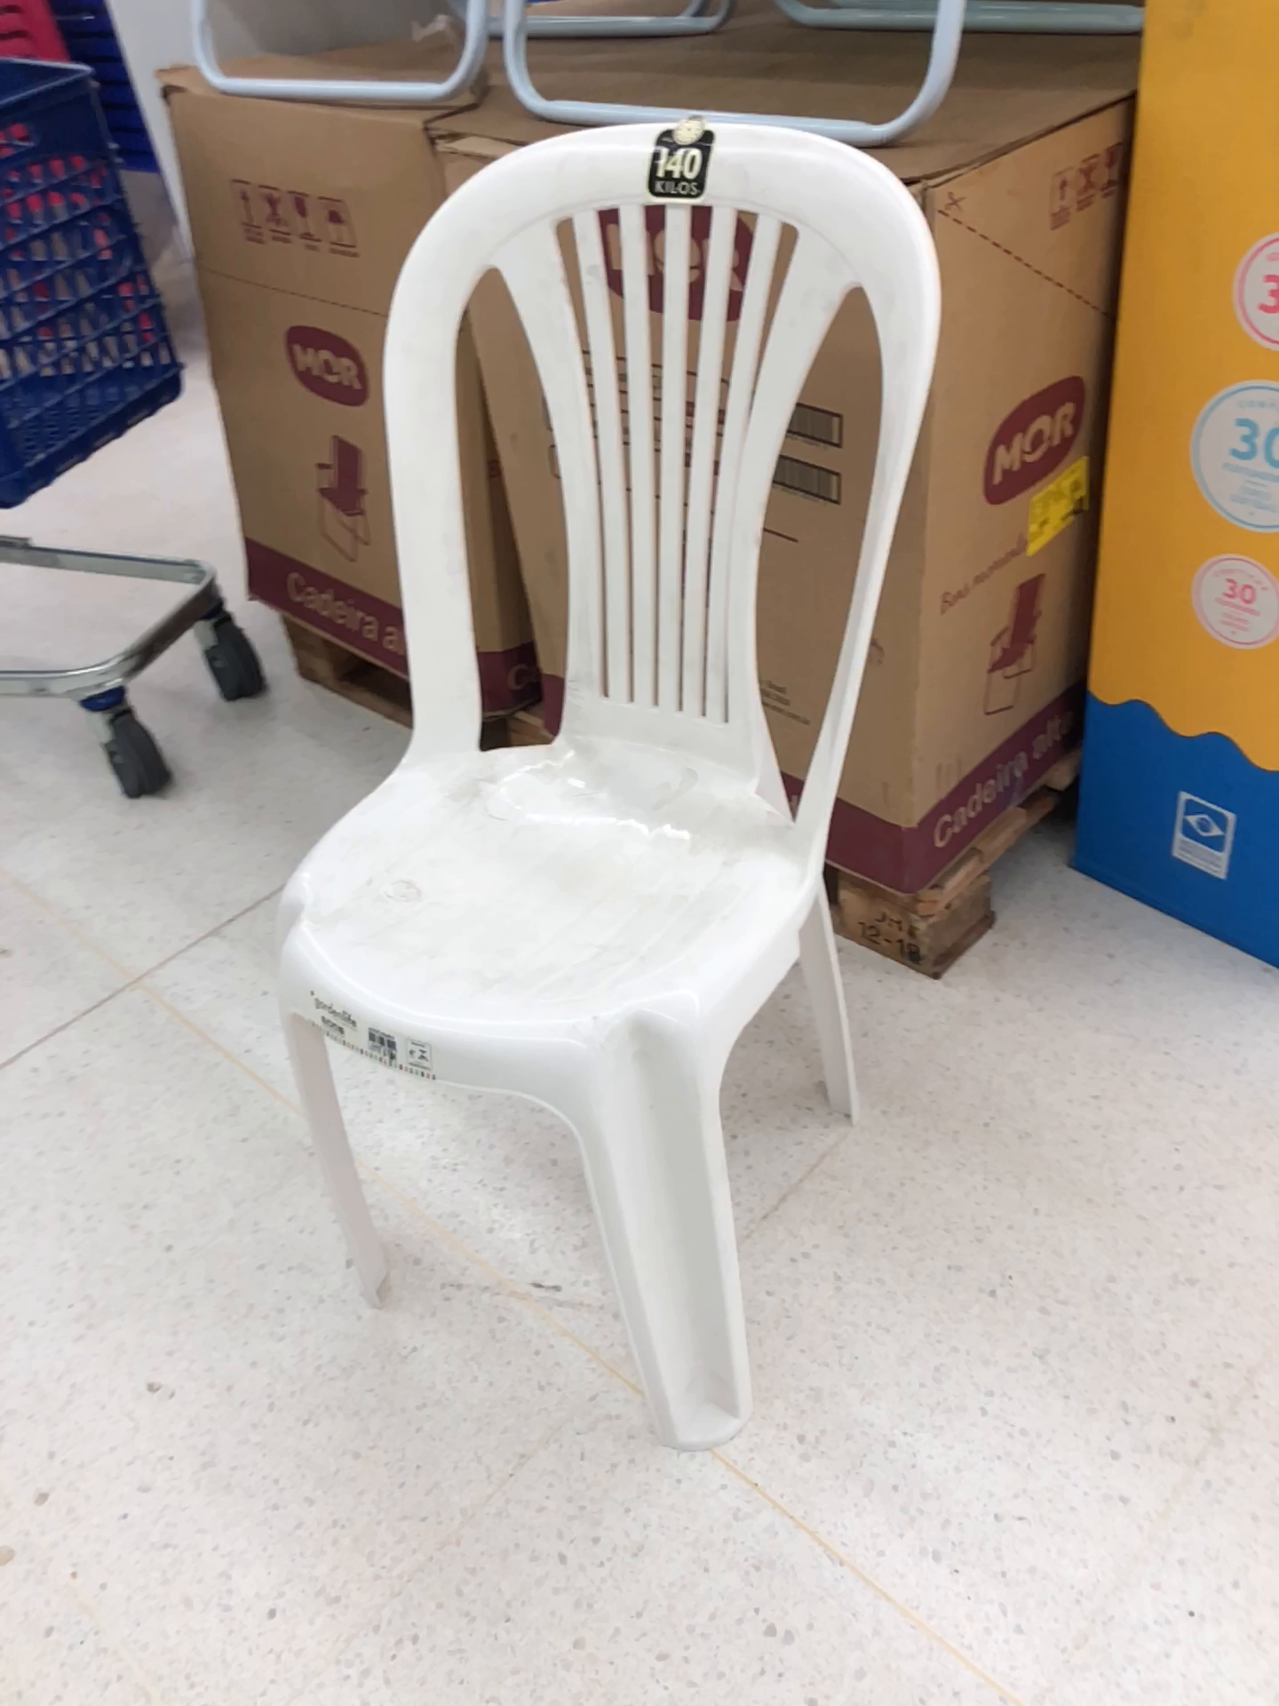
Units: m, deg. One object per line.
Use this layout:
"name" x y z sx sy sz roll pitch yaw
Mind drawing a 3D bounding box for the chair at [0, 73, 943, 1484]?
"chair" -0.067 -0.047 1.031 0.441 0.834 0.462 13 42 26
